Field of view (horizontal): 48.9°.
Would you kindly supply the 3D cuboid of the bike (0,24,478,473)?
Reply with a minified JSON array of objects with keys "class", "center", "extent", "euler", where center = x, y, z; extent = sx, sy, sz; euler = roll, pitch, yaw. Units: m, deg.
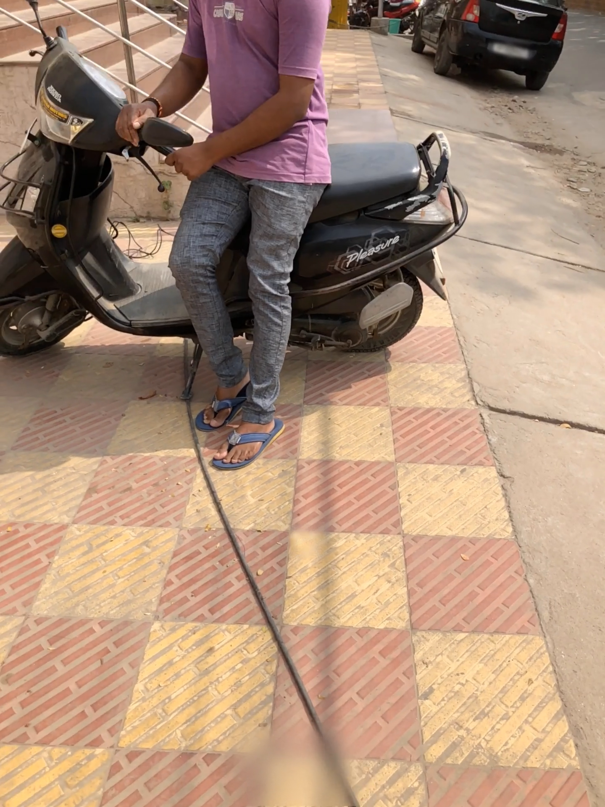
[{"class":"bike","center":[-0.381,-0.488,2.037],"extent":[1.594,1.116,0.639],"euler":[-3,34,-6]}]
